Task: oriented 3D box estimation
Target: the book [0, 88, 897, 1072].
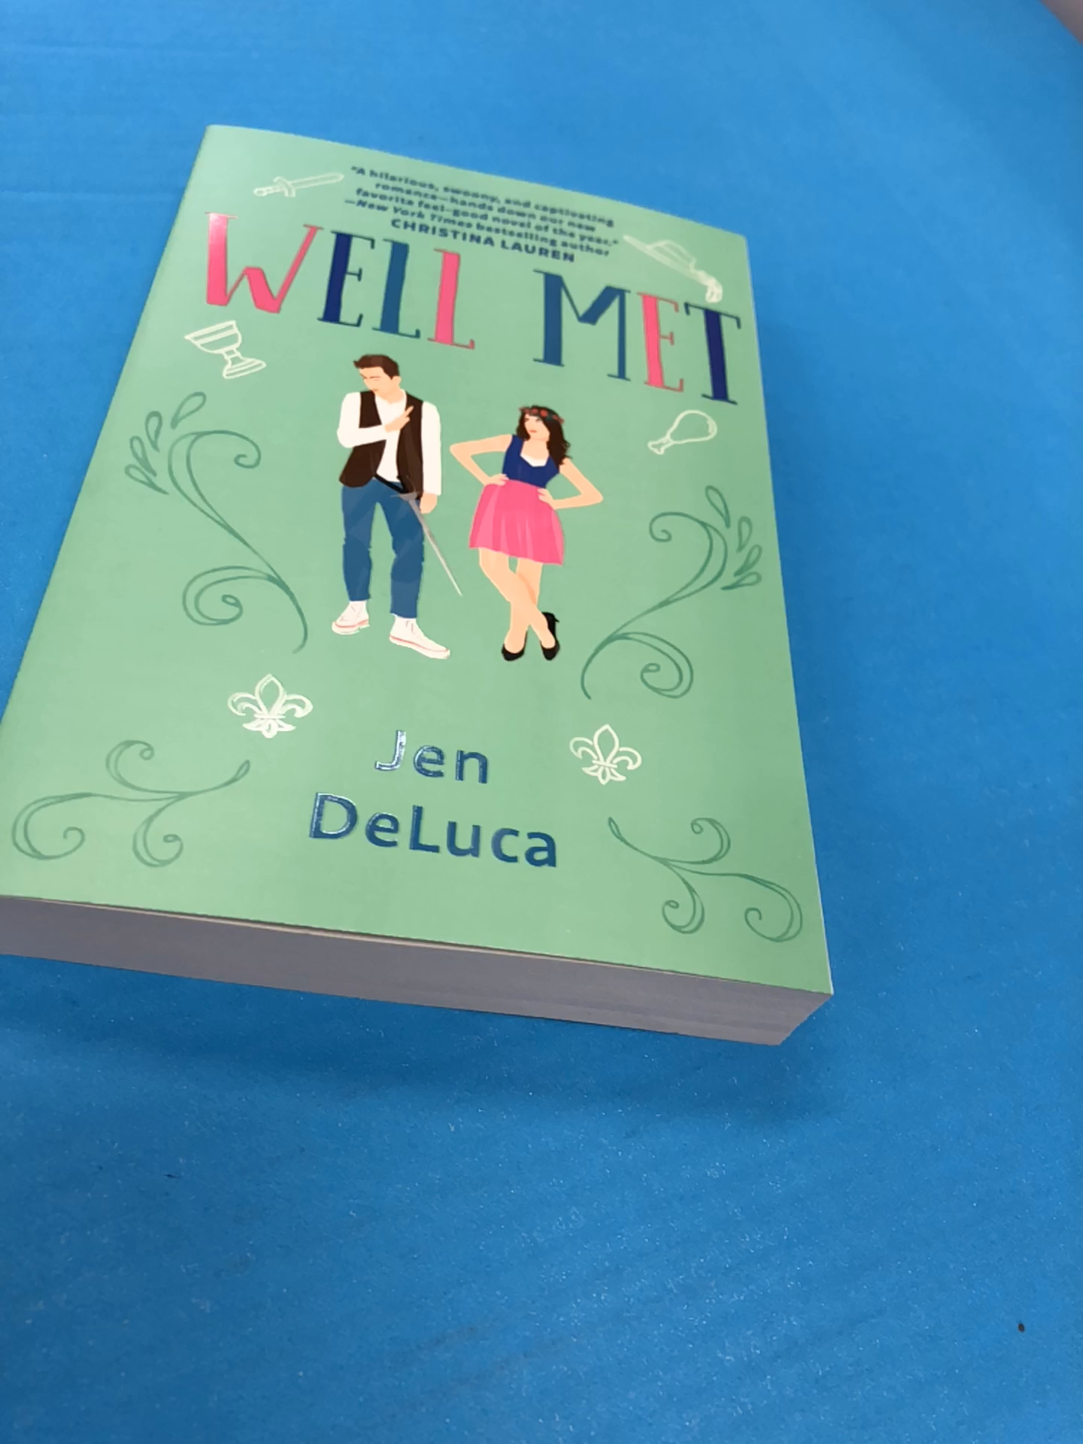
[{"bbox_3d":[-0.014,-0.045,0.256,0.146,0.030,0.216,9,54,-10],"label":"book"}]
